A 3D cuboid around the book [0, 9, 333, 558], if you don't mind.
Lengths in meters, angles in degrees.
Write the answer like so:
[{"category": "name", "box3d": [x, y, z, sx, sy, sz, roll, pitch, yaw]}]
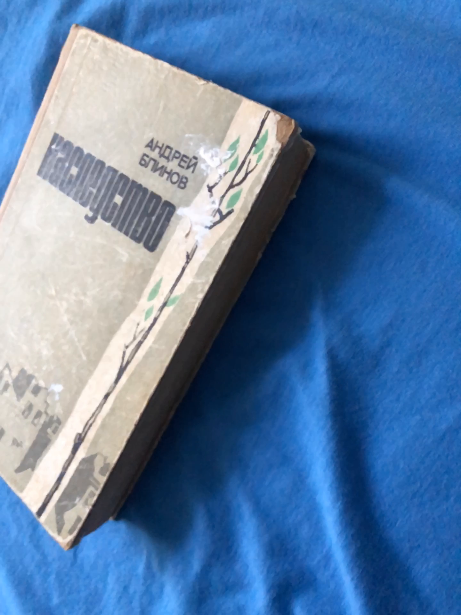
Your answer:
[{"category": "book", "box3d": [-0.064, -0.012, 0.244, 0.130, 0.040, 0.200, 35, 103, 22]}]
